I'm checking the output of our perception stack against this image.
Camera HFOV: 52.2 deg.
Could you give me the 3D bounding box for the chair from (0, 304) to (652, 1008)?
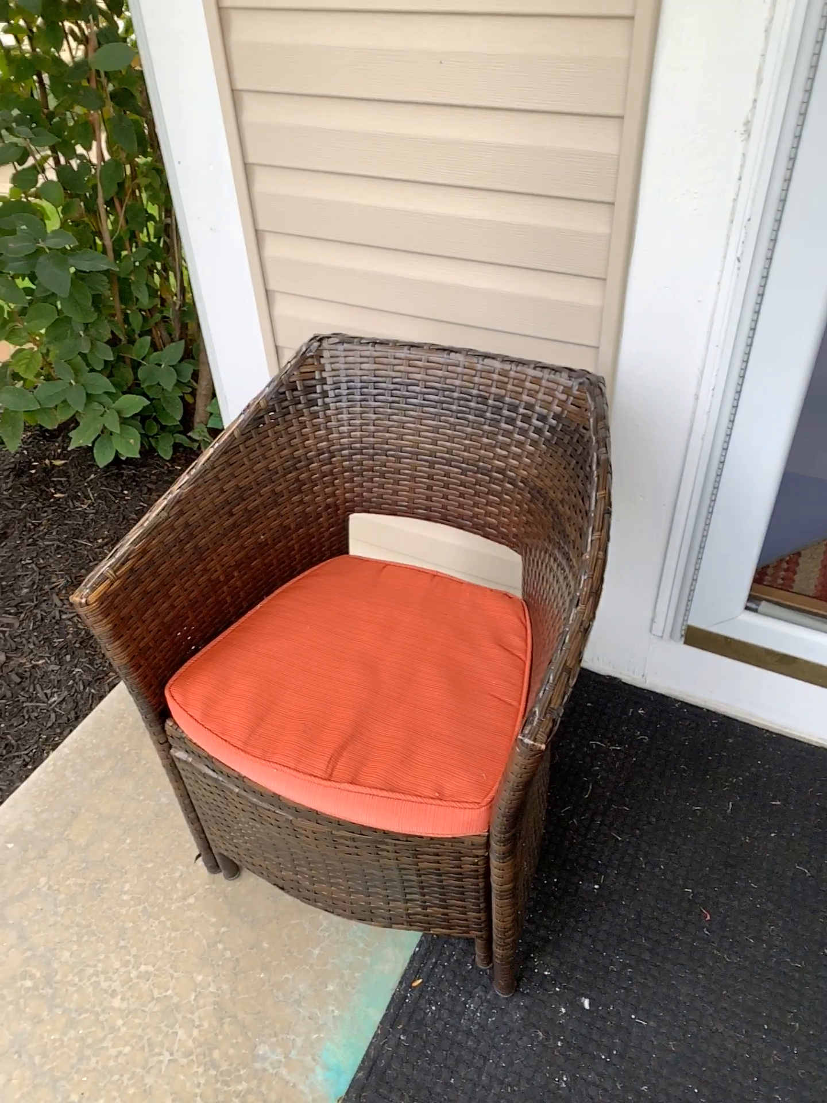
[{"bbox_3d":[-0.052,0.134,1.325,0.642,0.757,0.609,12,42,18],"label":"chair"}]
